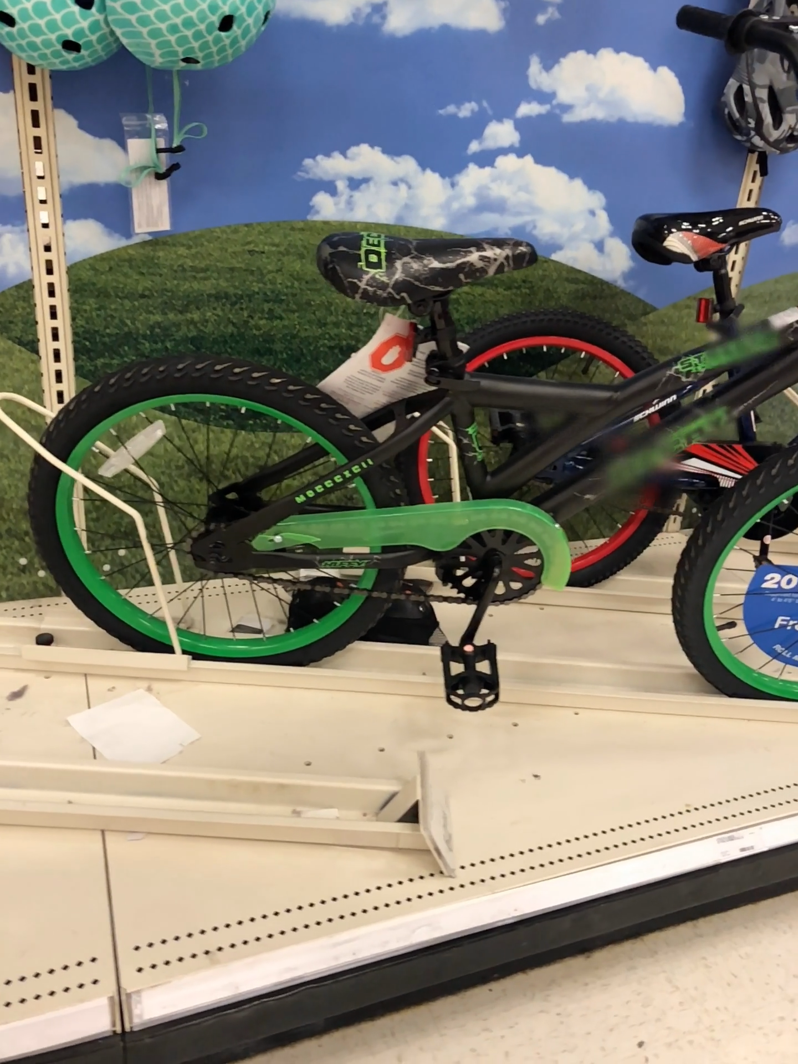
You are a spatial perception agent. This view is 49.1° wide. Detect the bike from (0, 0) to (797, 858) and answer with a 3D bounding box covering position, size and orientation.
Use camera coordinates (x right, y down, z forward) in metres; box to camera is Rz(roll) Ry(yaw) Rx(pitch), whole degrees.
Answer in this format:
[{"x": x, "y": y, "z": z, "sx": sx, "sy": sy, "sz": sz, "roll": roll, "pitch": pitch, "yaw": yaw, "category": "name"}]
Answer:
[{"x": 0.231, "y": -0.183, "z": 1.093, "sx": 1.361, "sy": 0.879, "sz": 0.631, "roll": 3, "pitch": 25, "yaw": -2, "category": "bike"}]
